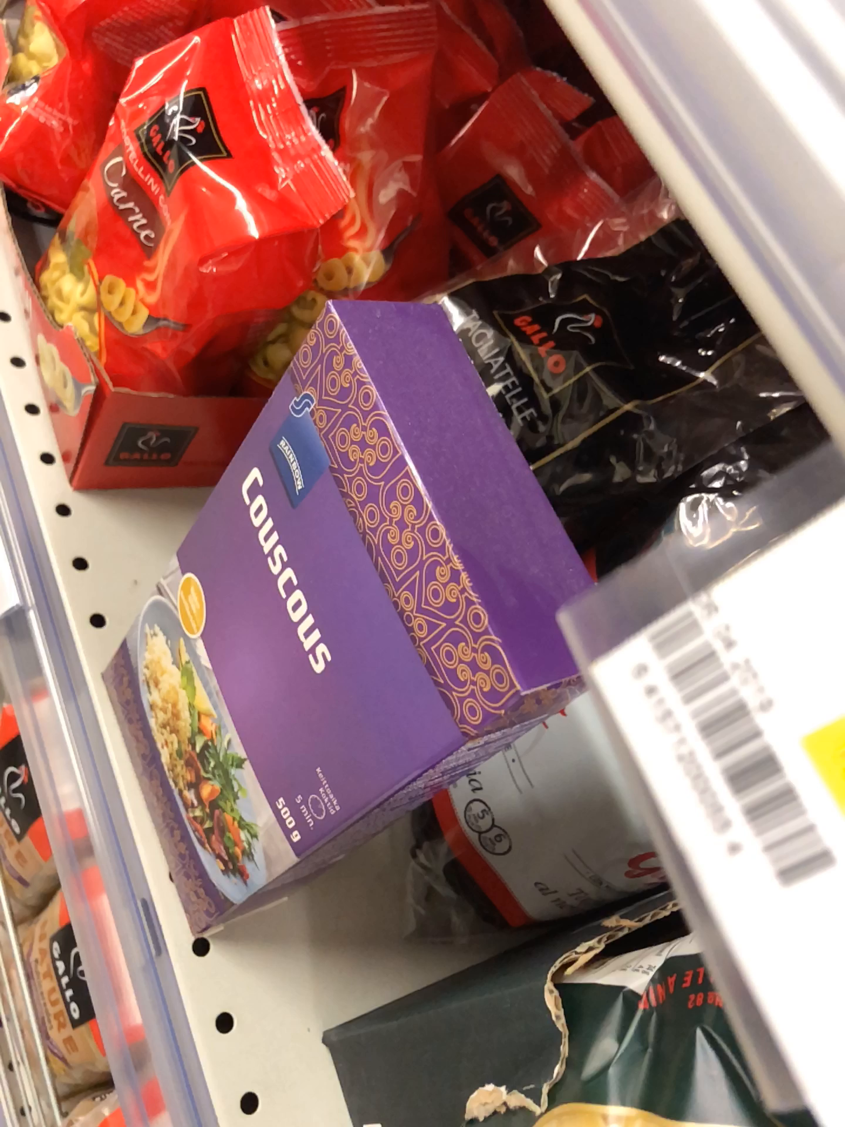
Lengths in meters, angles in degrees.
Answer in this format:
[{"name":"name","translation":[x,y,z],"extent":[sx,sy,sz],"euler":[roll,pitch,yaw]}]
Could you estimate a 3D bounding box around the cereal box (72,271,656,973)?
[{"name":"cereal box","translation":[-0.040,0.033,0.264],"extent":[0.040,0.199,0.110],"euler":[-8,65,-39]}]
